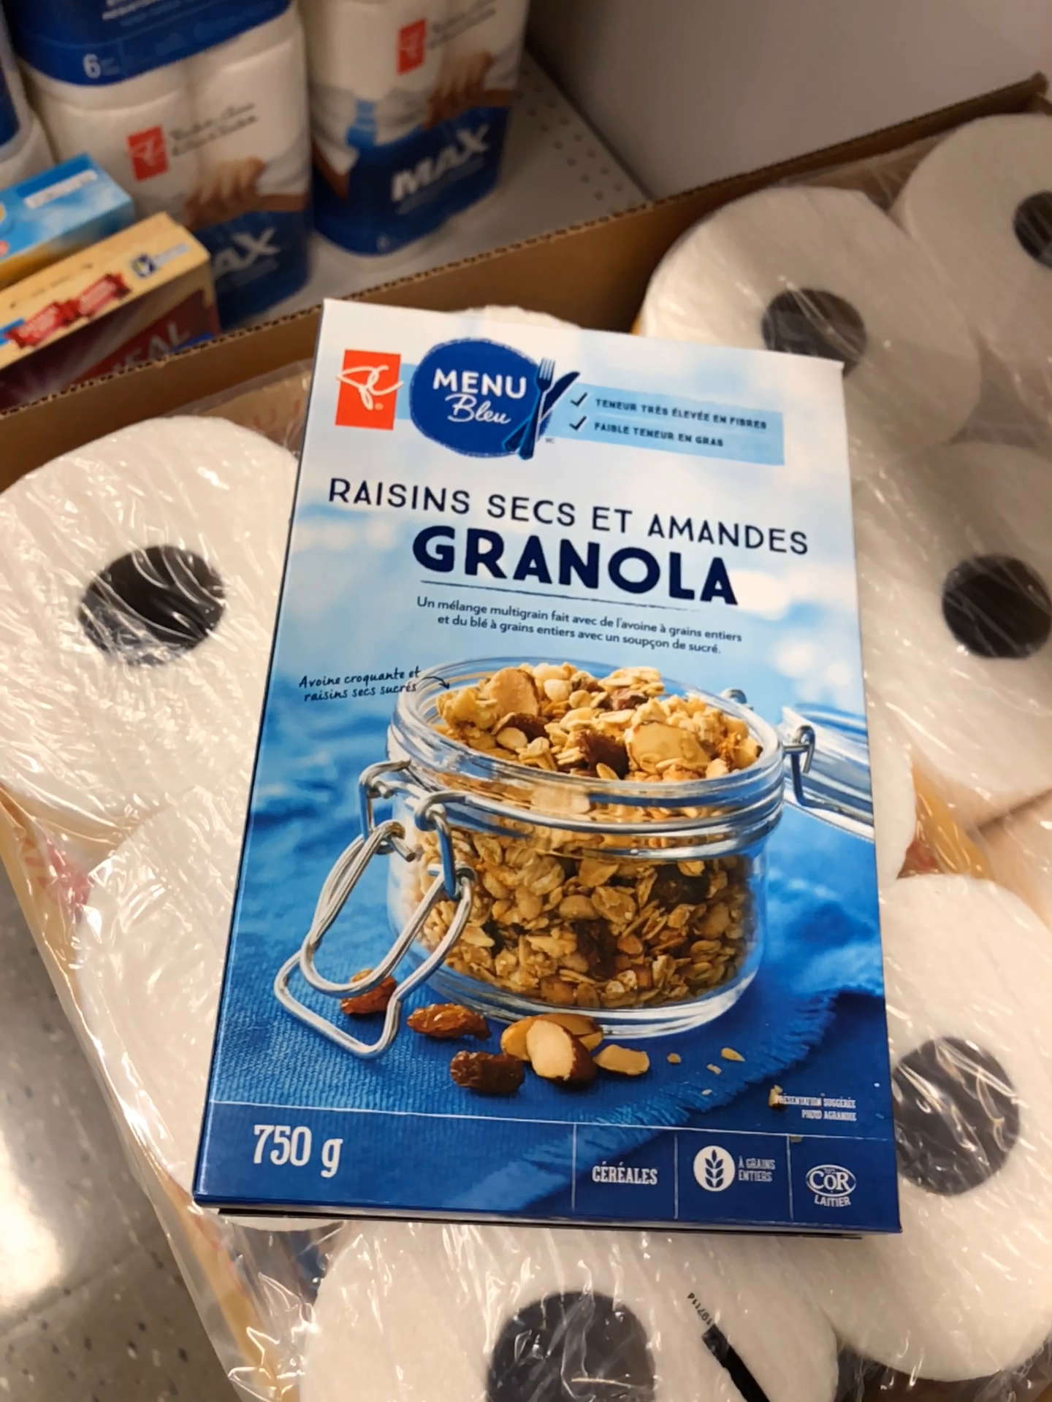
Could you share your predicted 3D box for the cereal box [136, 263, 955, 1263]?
[{"bbox_3d":[0.009,0.009,0.320,0.170,0.060,0.250,6,66,-6],"label":"cereal box"}]
